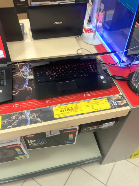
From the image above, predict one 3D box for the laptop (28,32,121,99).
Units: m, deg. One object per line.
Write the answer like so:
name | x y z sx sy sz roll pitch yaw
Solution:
laptop | 0.006 -0.152 0.794 0.394 0.166 0.259 -9 50 -9
